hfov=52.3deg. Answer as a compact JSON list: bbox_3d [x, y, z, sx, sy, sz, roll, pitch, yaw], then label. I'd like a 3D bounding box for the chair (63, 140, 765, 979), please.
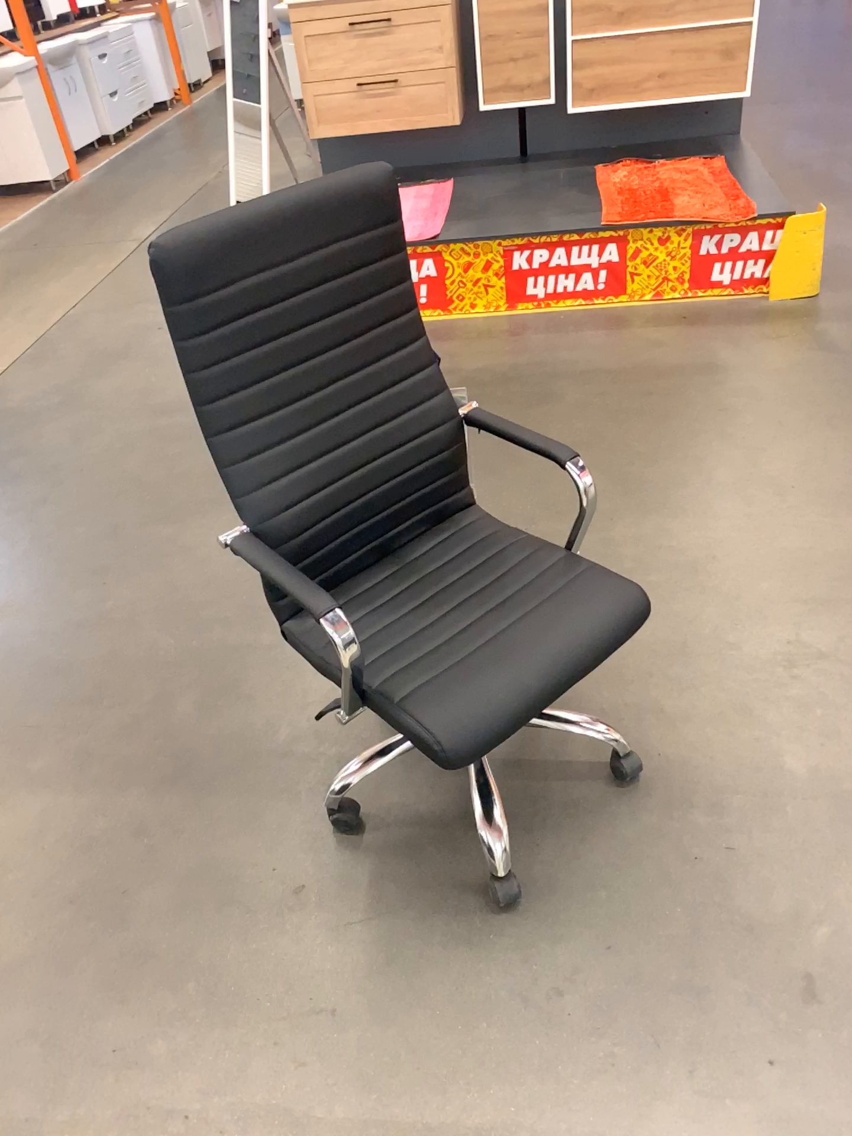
[{"bbox_3d":[0.021,-0.040,1.472,0.651,1.075,0.682,-33,44,-29],"label":"chair"}]
